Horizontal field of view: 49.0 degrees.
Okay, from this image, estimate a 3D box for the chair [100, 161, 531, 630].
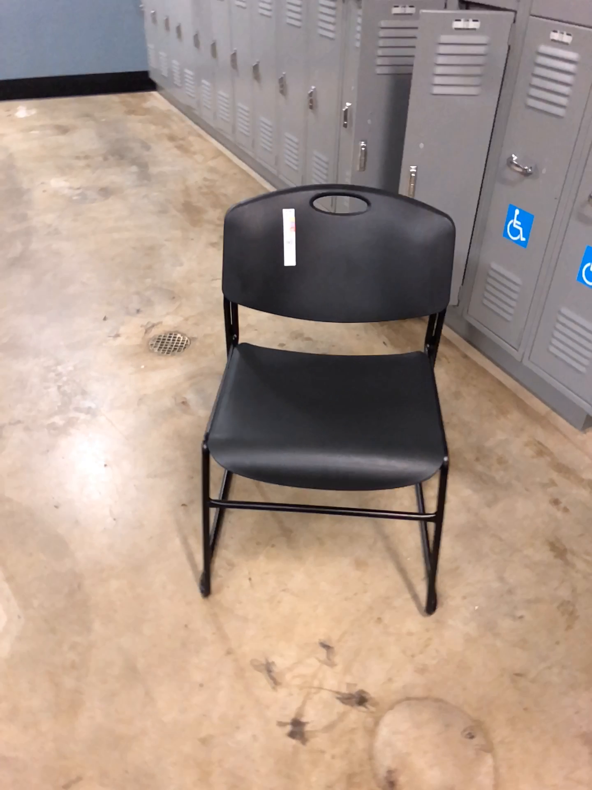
[{"bbox_3d":[0.035,-0.007,1.239,0.544,0.665,0.548,3,38,3],"label":"chair"}]
